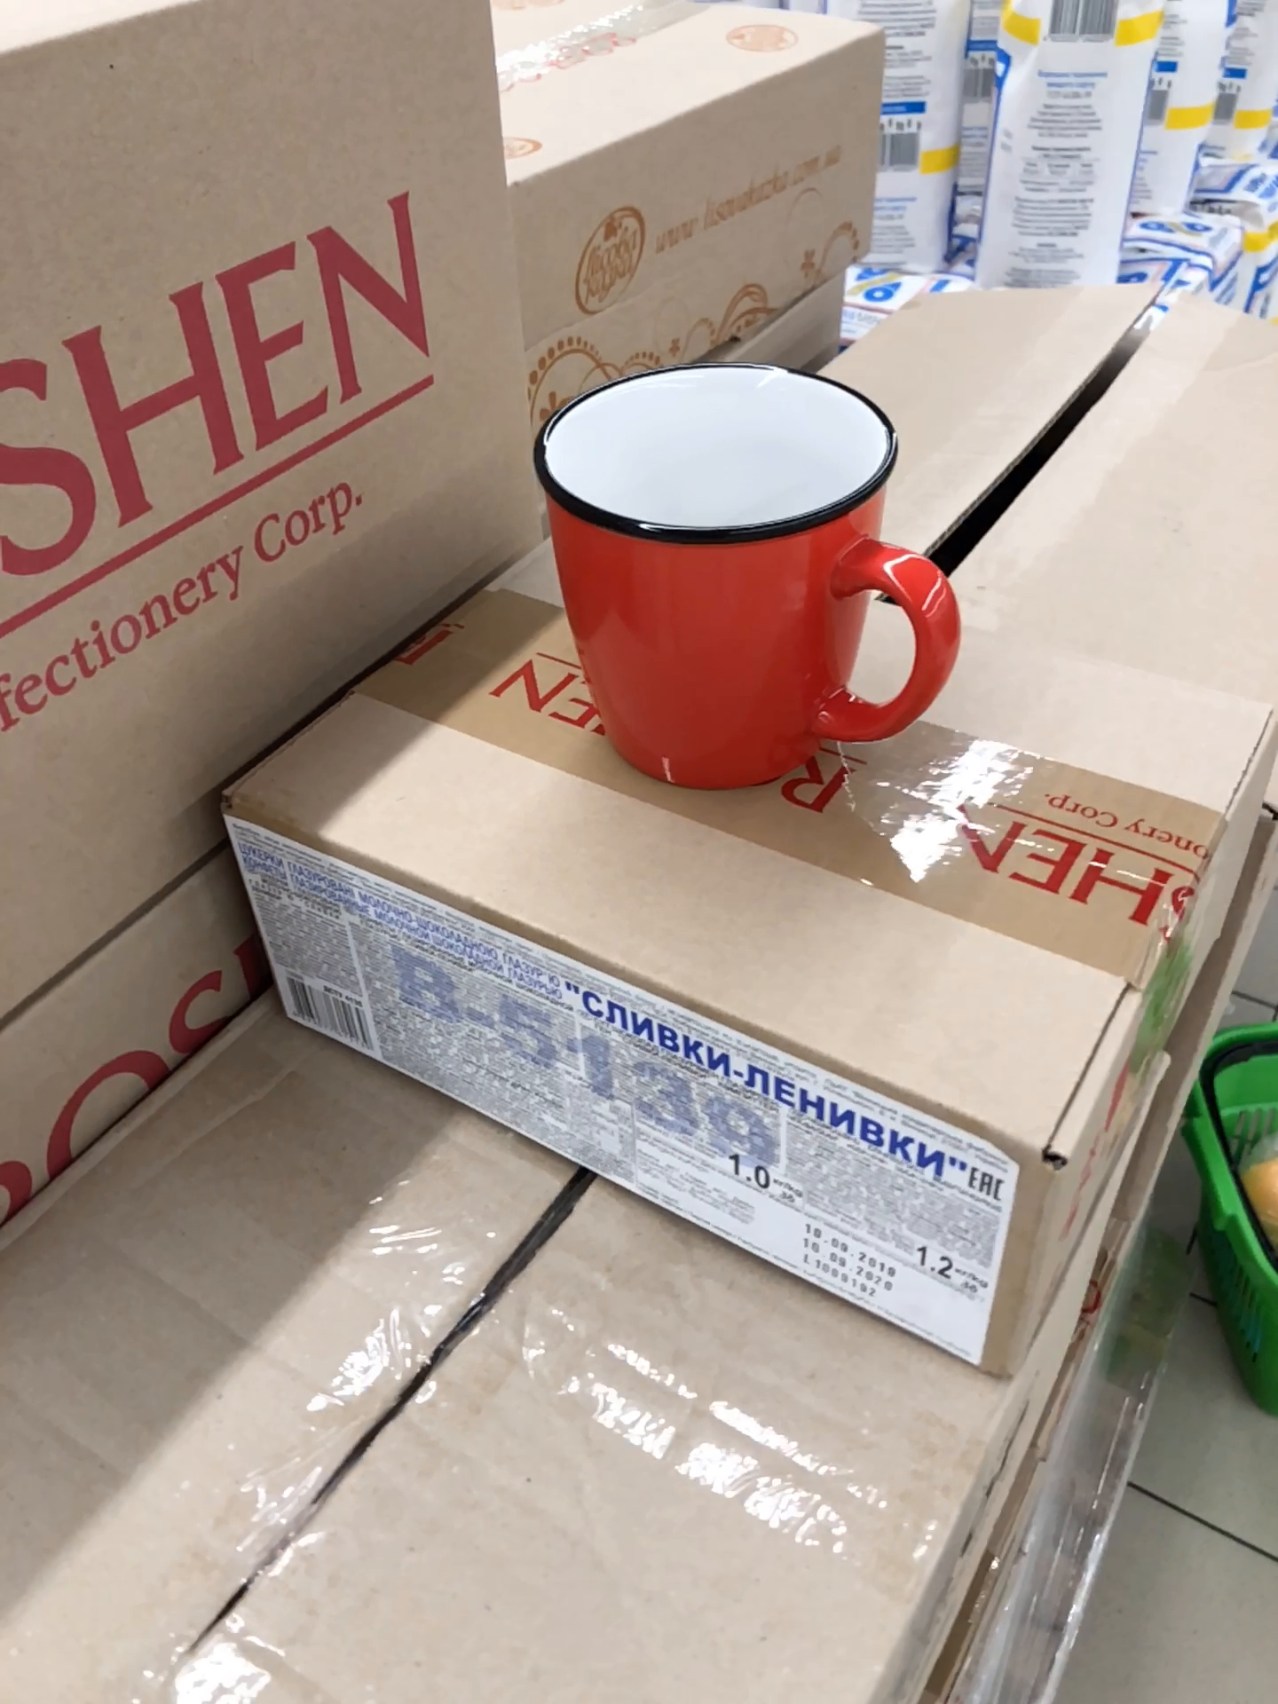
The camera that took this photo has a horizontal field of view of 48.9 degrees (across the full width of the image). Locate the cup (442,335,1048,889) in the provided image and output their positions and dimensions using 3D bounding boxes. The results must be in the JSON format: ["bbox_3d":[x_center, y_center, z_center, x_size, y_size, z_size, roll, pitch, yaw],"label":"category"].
[{"bbox_3d":[0.029,-0.074,0.398,0.127,0.089,0.097,25,48,28],"label":"cup"}]
